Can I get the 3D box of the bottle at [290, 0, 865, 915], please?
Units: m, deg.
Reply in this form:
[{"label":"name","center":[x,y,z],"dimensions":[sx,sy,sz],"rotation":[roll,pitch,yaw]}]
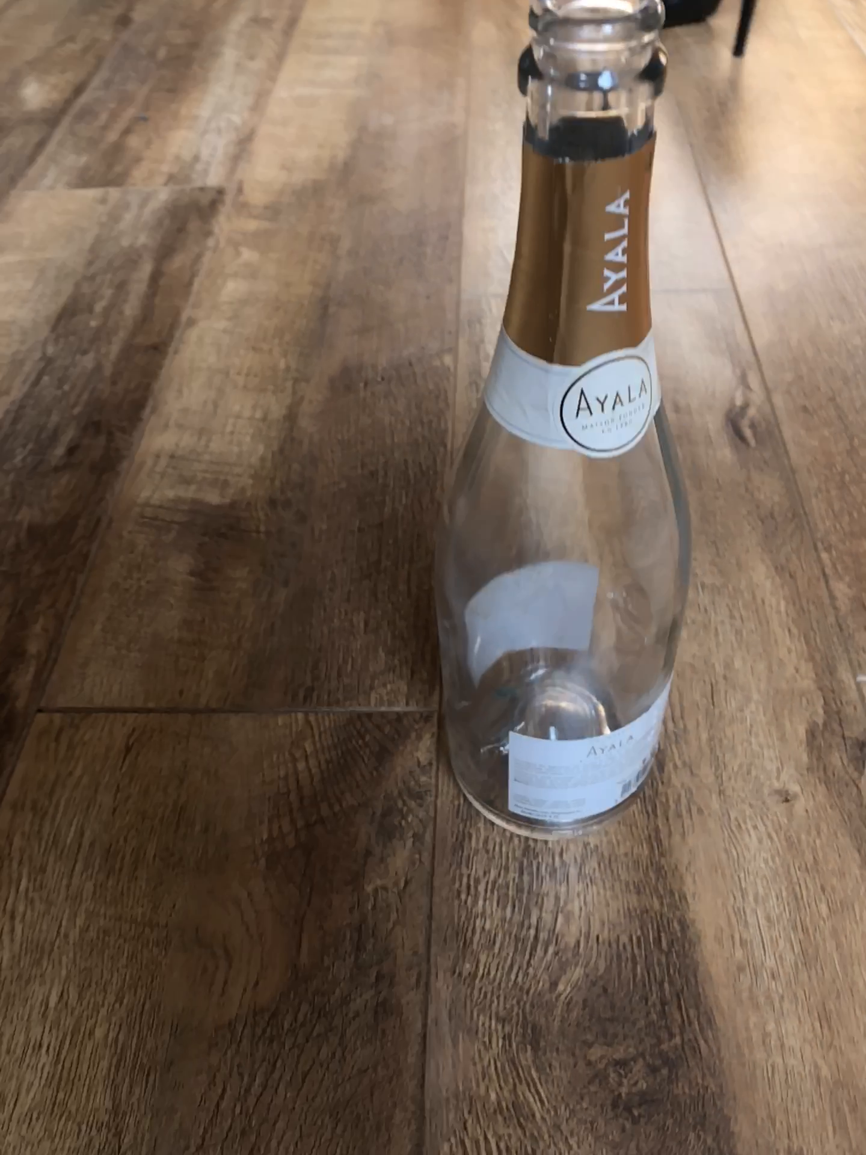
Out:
[{"label":"bottle","center":[0.035,-0.013,0.305],"dimensions":[0.090,0.298,0.091],"rotation":[-2,47,2]}]
